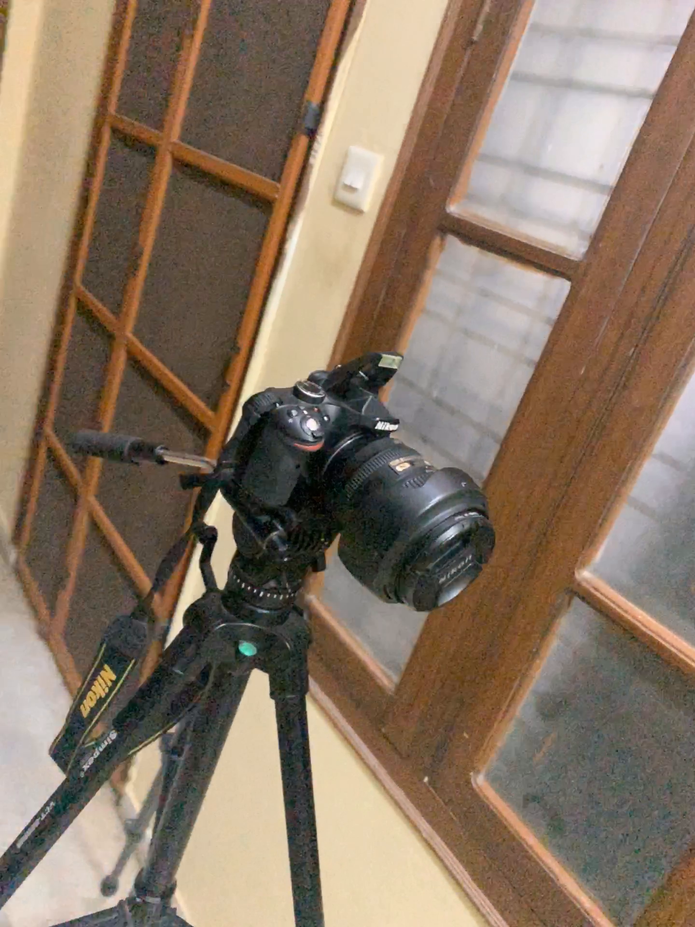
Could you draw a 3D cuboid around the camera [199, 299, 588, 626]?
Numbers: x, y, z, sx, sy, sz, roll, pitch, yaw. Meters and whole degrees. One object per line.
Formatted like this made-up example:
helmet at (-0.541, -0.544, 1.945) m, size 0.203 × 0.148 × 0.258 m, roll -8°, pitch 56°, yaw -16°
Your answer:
camera at (0.024, -0.011, 0.509) m, size 0.151 × 0.129 × 0.200 m, roll -1°, pitch 29°, yaw -44°
